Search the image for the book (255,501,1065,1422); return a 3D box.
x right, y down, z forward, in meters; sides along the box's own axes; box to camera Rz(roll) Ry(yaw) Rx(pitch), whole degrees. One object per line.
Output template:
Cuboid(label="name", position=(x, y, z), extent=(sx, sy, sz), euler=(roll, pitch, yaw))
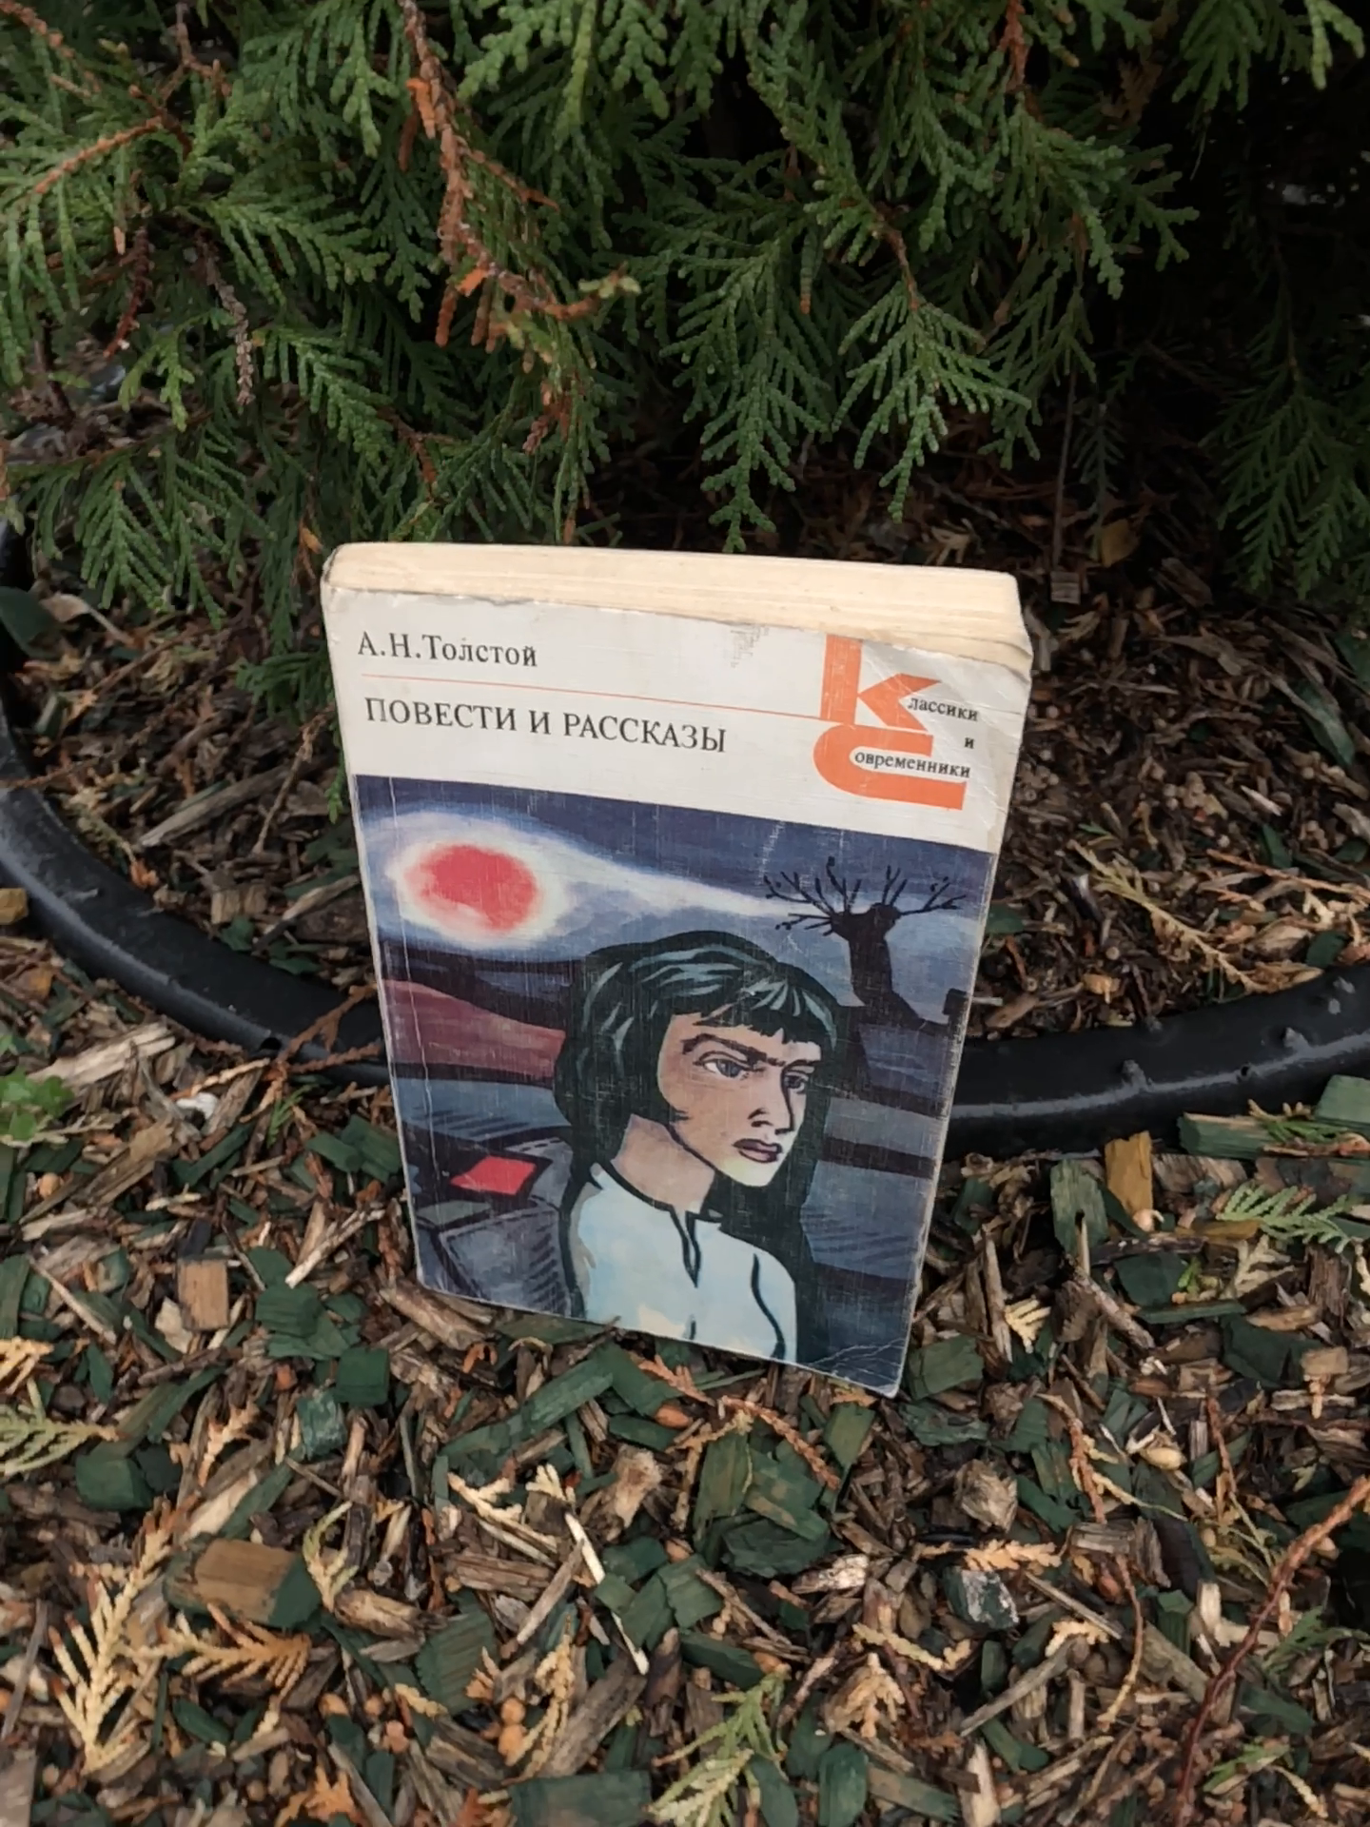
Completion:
Cuboid(label="book", position=(-0.001, 0.020, 0.317), extent=(0.130, 0.196, 0.041), euler=(8, 41, 12))
